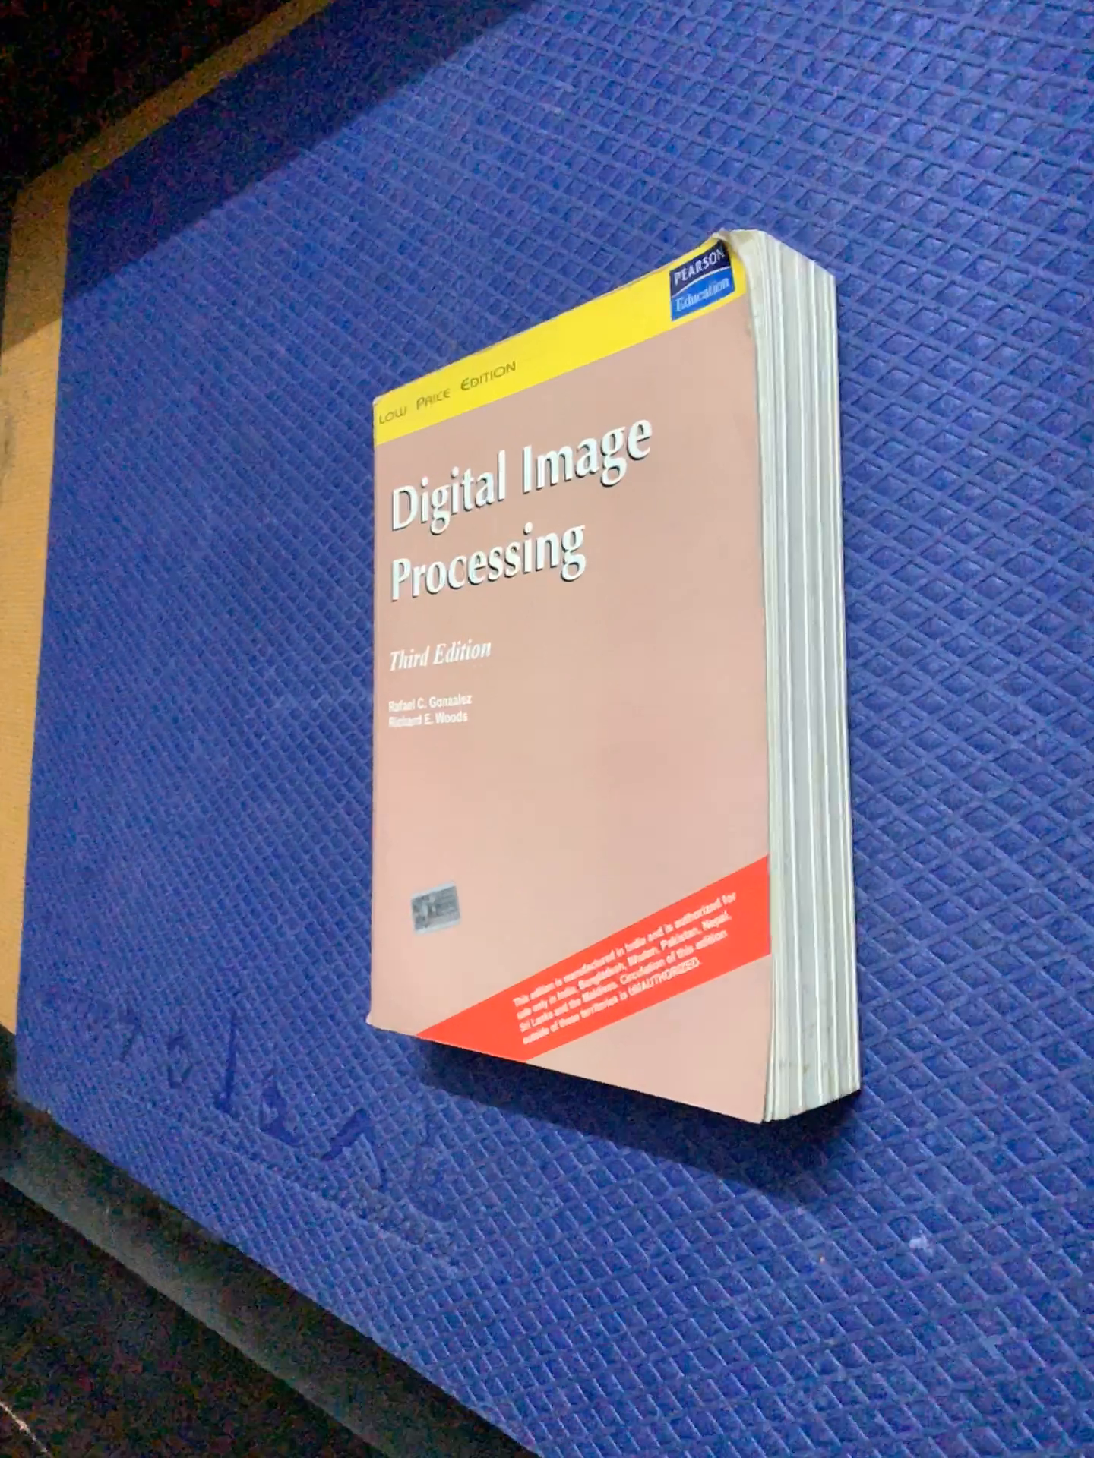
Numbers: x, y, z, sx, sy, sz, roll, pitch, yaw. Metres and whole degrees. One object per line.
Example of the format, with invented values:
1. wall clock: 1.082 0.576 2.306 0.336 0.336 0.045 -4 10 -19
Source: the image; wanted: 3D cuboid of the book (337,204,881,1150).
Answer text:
1. book: 0.009 -0.011 0.343 0.175 0.045 0.225 -4 84 44
